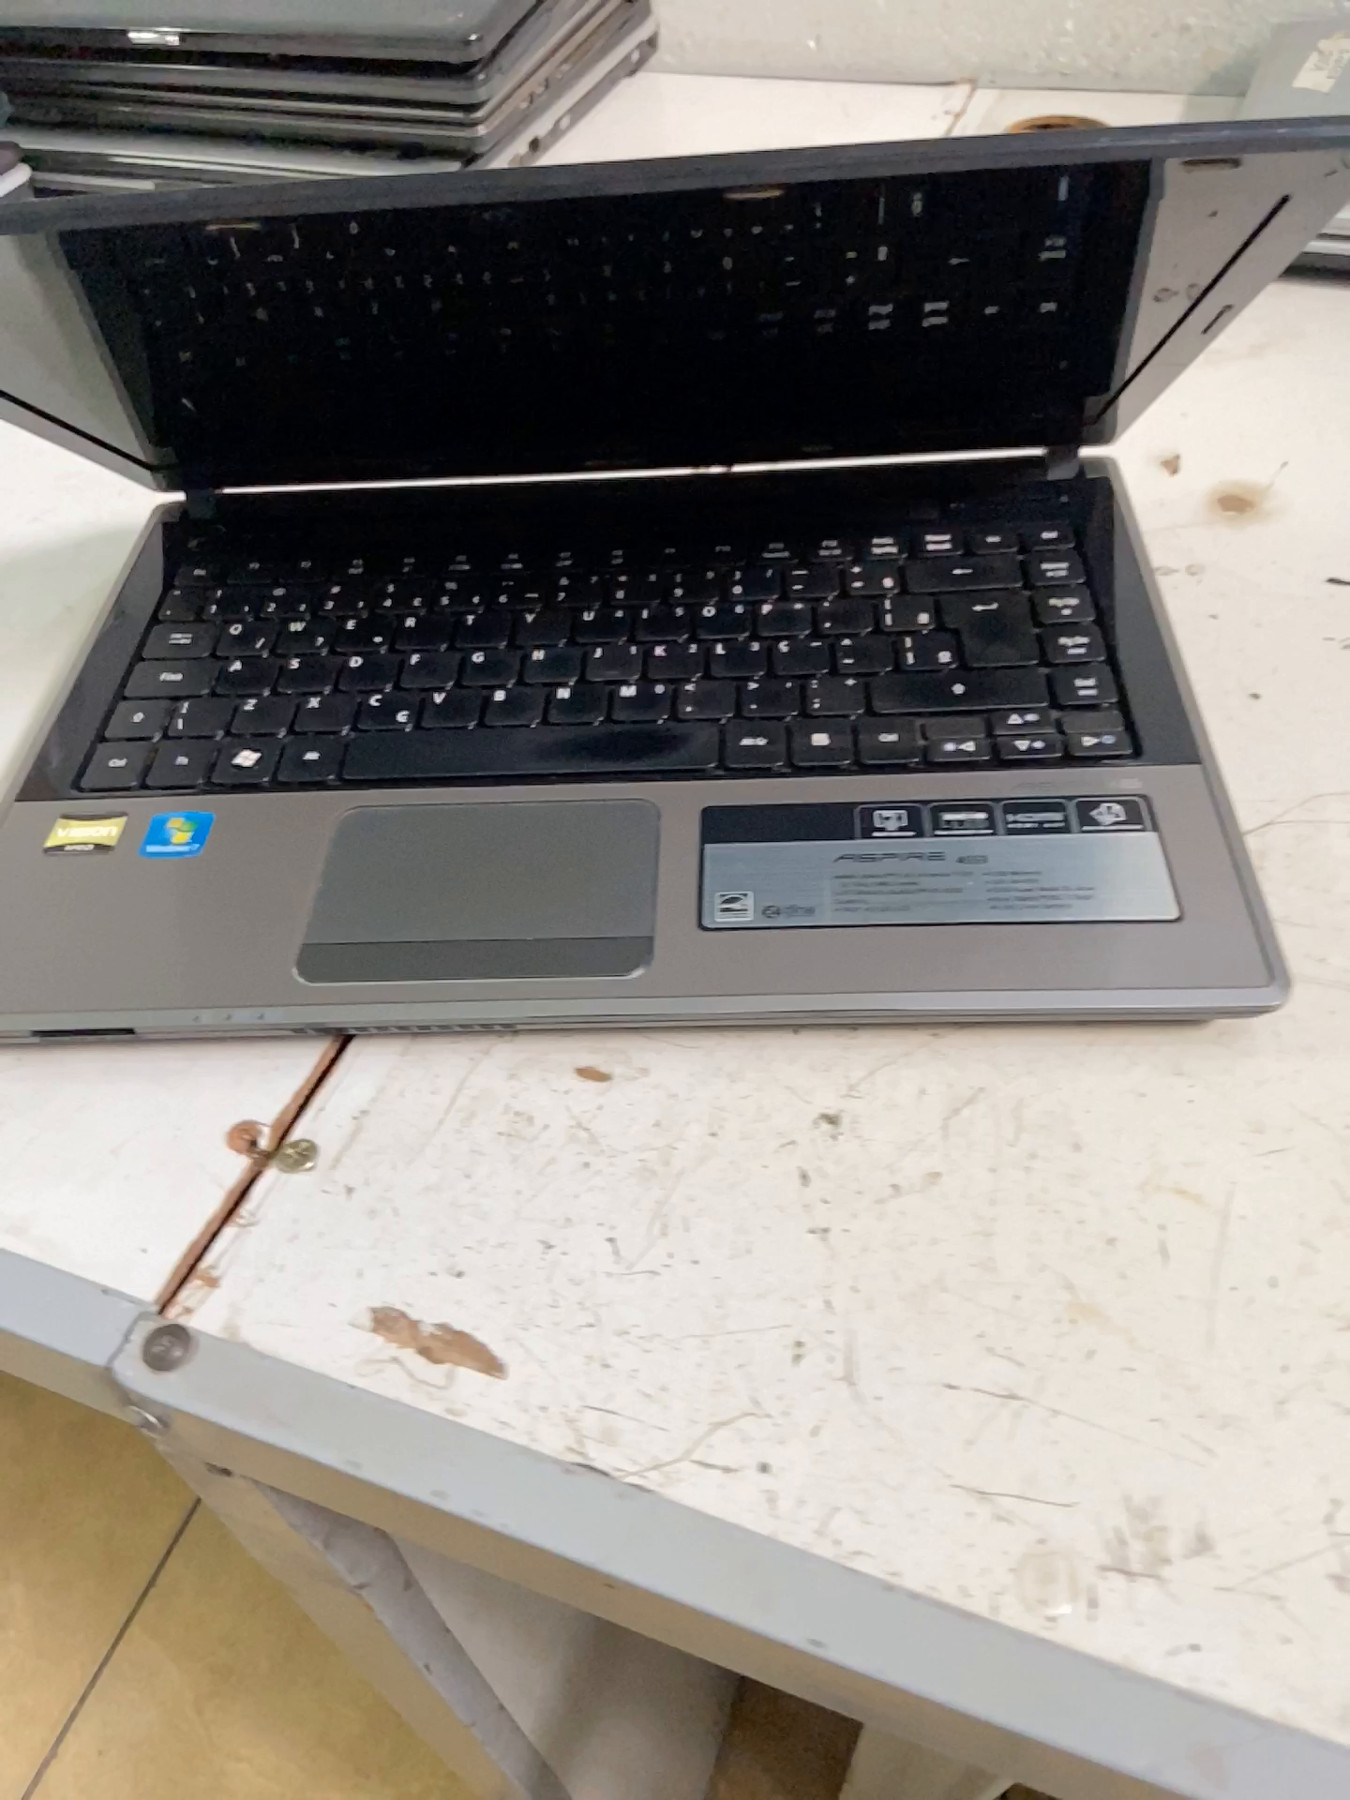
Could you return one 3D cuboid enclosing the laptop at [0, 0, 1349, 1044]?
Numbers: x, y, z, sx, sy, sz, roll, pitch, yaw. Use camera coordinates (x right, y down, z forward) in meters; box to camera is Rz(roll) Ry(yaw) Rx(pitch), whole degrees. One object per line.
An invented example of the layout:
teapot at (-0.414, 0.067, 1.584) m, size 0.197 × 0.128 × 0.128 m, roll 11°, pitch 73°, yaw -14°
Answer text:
laptop at (-0.029, -0.108, 0.355) m, size 0.334 × 0.157 × 0.227 m, roll -2°, pitch 47°, yaw 4°
